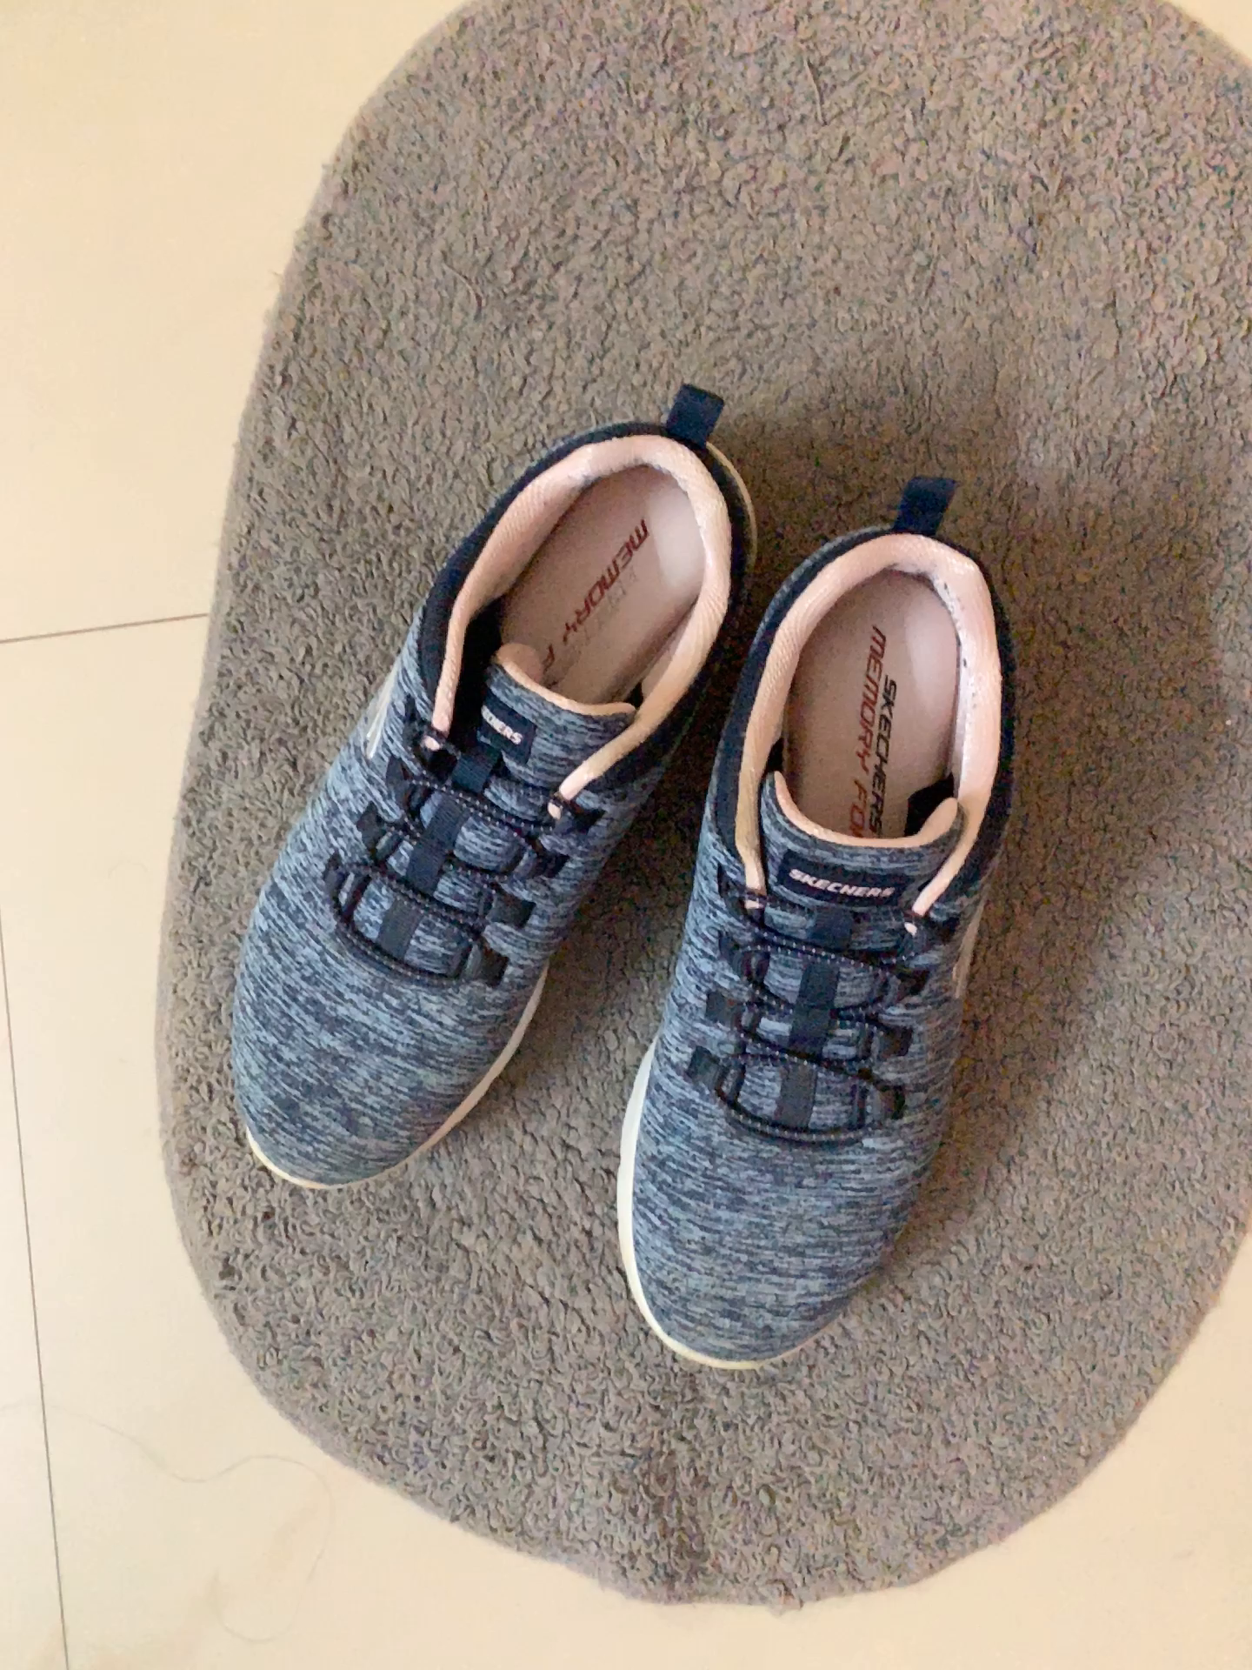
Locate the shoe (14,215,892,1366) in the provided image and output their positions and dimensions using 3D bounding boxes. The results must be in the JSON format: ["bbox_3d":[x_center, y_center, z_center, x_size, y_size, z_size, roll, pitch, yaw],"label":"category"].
[{"bbox_3d":[-0.040,-0.012,0.361,0.090,0.100,0.270,29,87,2],"label":"shoe"}]

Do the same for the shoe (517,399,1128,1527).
[{"bbox_3d":[0.058,0.033,0.400,0.100,0.100,0.290,14,86,5],"label":"shoe"}]
